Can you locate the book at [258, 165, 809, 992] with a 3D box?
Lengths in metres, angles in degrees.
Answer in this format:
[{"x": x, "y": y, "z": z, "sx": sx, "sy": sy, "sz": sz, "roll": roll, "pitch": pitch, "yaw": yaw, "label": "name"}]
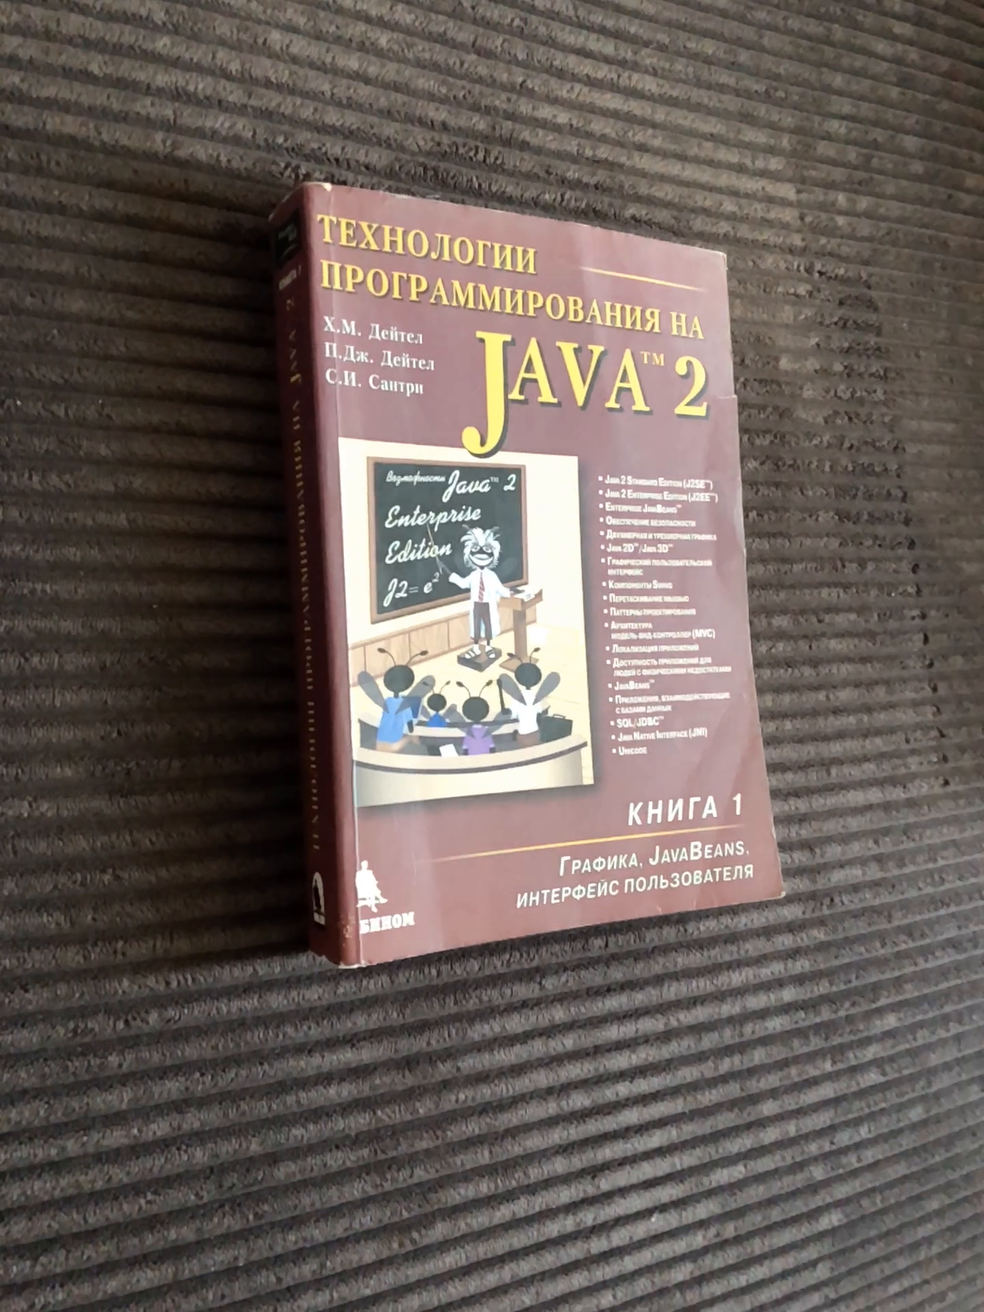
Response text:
[{"x": 0.017, "y": -0.027, "z": 0.372, "sx": 0.166, "sy": 0.050, "sz": 0.240, "roll": -3, "pitch": 85, "yaw": -28, "label": "book"}]
